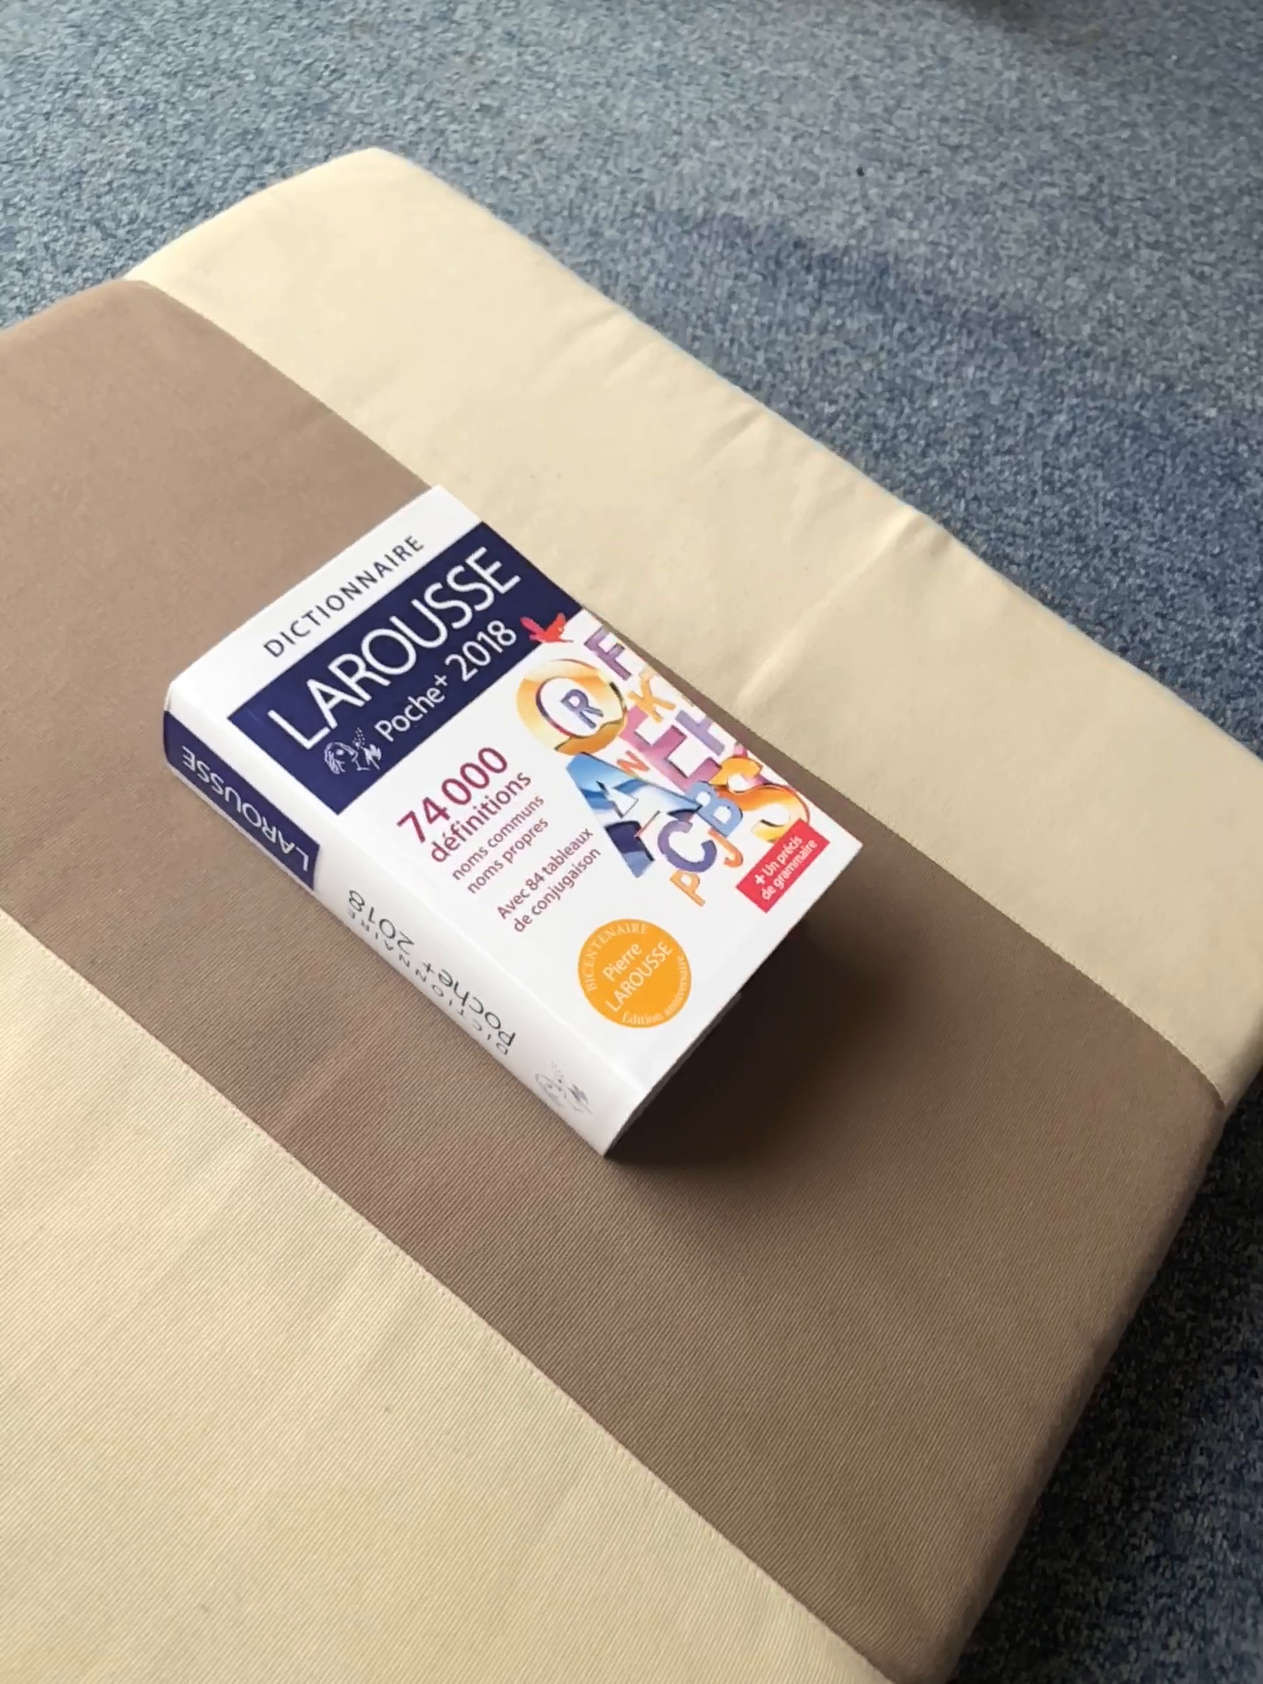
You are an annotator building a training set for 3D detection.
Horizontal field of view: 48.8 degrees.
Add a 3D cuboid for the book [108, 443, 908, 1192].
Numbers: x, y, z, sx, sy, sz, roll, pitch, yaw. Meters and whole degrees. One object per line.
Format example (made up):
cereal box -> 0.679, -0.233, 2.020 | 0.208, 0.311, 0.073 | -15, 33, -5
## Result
book -> -0.038, -0.015, 0.433 | 0.200, 0.060, 0.131 | 40, 58, 10
